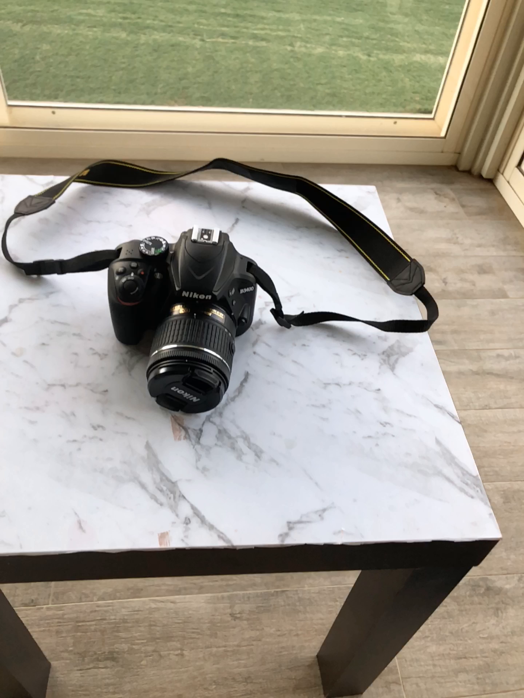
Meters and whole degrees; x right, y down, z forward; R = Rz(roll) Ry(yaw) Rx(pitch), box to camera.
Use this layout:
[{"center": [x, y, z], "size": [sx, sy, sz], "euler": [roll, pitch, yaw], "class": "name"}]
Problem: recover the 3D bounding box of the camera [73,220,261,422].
[{"center": [-0.066, -0.024, 0.458], "size": [0.121, 0.076, 0.138], "euler": [4, 50, -2], "class": "camera"}]
